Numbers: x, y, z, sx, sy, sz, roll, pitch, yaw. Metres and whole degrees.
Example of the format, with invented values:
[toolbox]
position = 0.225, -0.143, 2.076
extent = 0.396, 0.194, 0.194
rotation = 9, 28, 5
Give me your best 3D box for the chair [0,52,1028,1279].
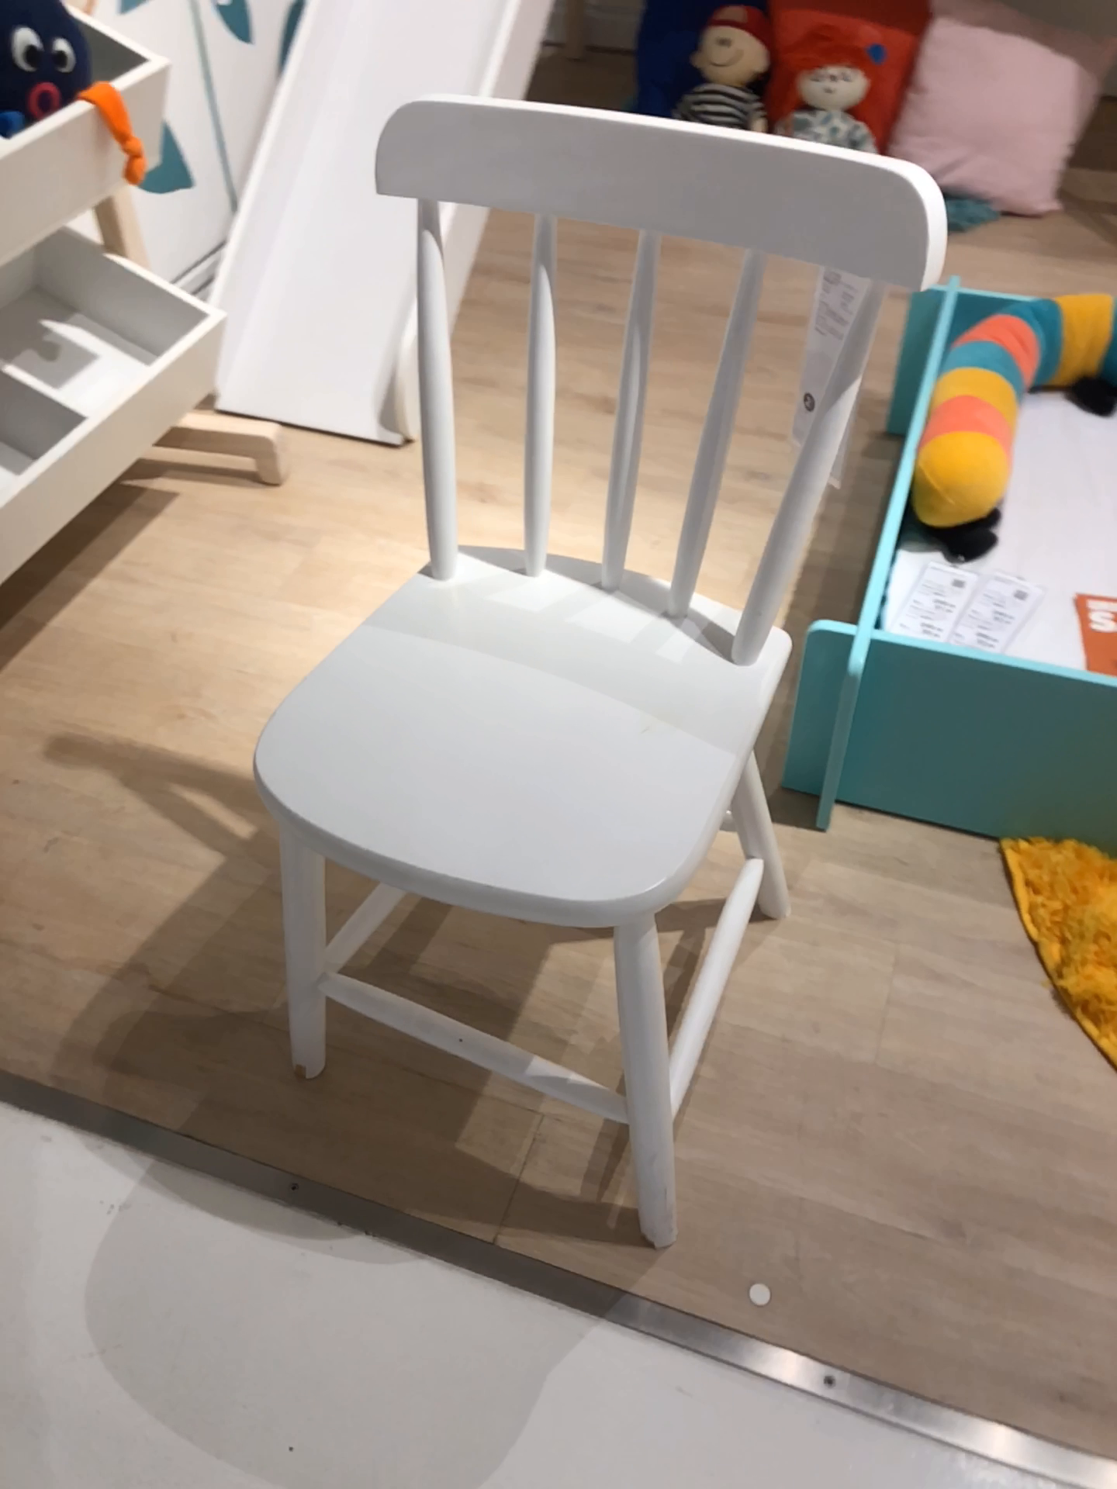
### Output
[chair]
position = 0.004, -0.031, 0.951
extent = 0.440, 0.755, 0.433
rotation = 18, 48, 18
